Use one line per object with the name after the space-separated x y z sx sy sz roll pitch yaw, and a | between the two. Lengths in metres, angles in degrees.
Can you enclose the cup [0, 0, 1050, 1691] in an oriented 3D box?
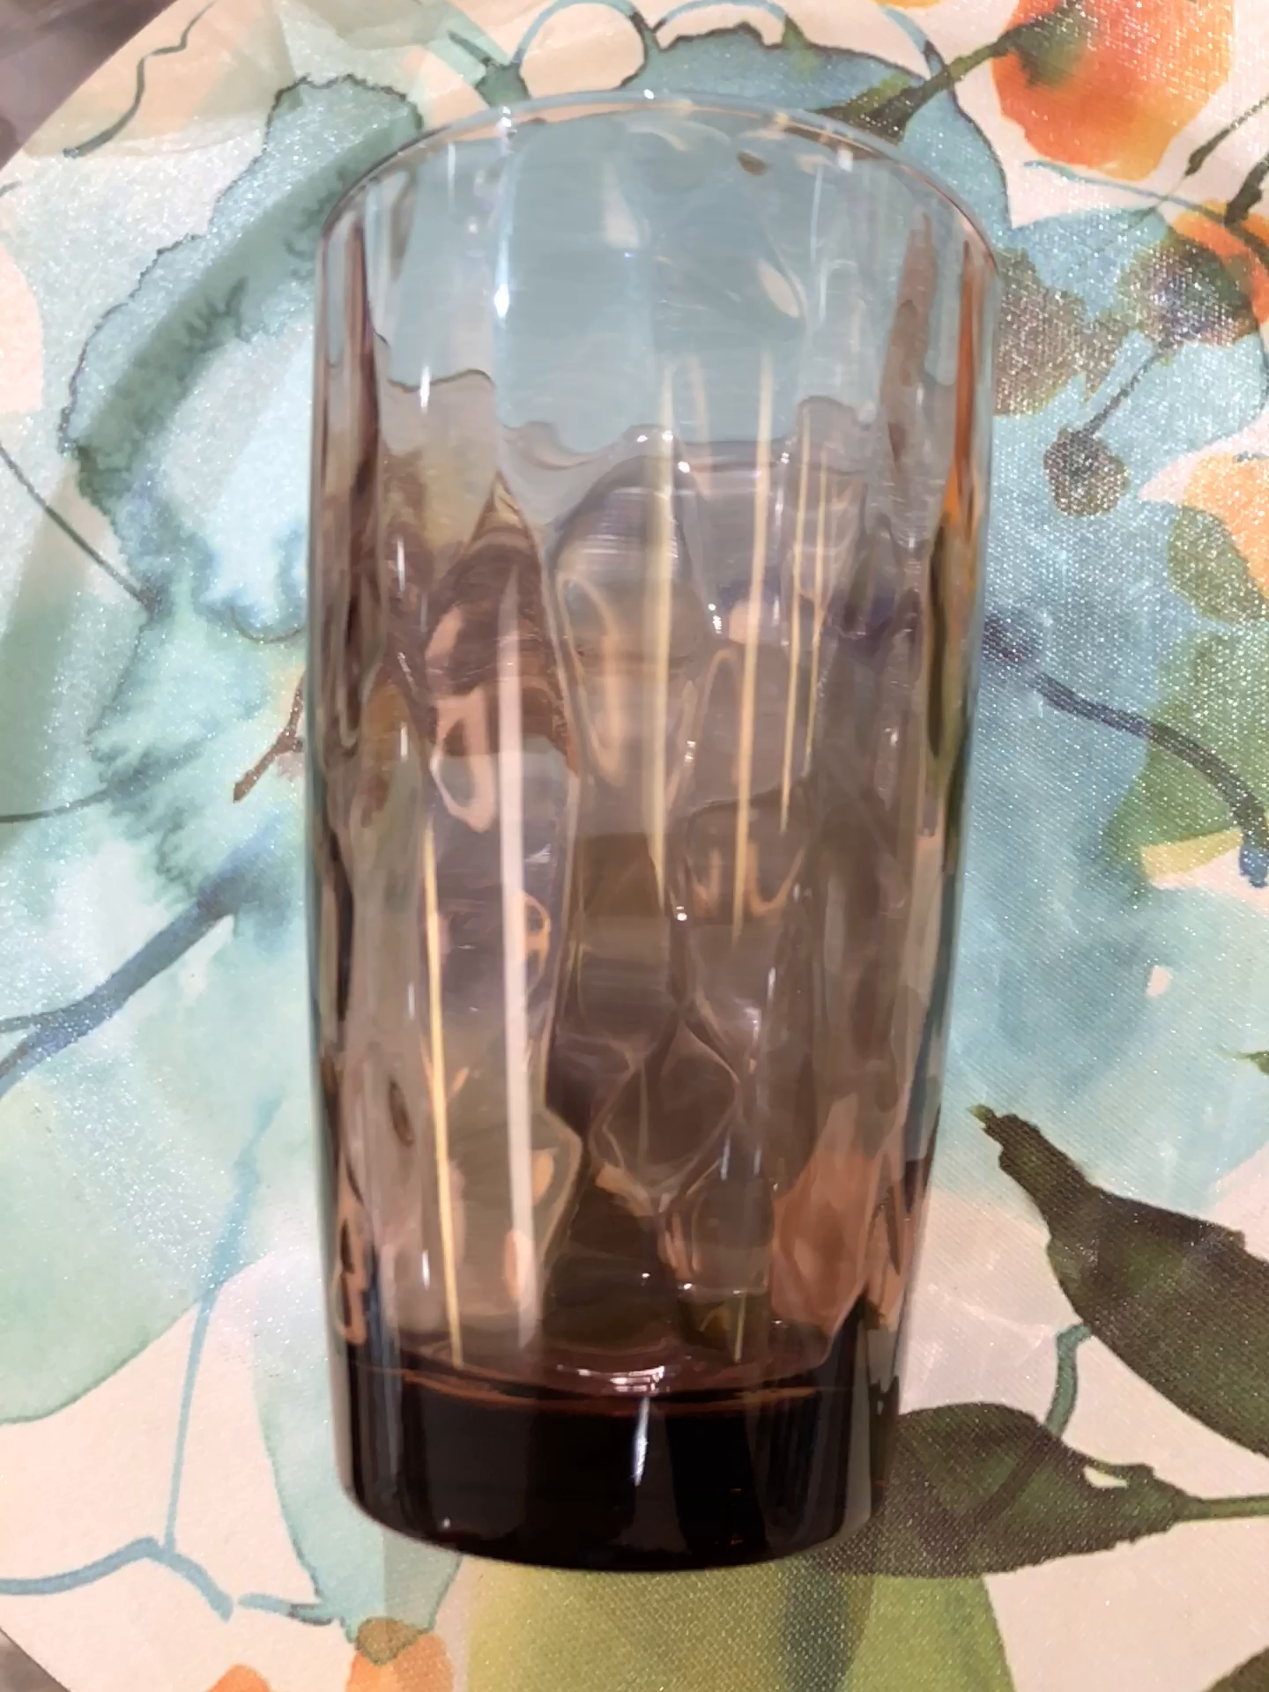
-0.003 0.003 0.158 0.090 0.080 0.150 -1 74 17 | cup
